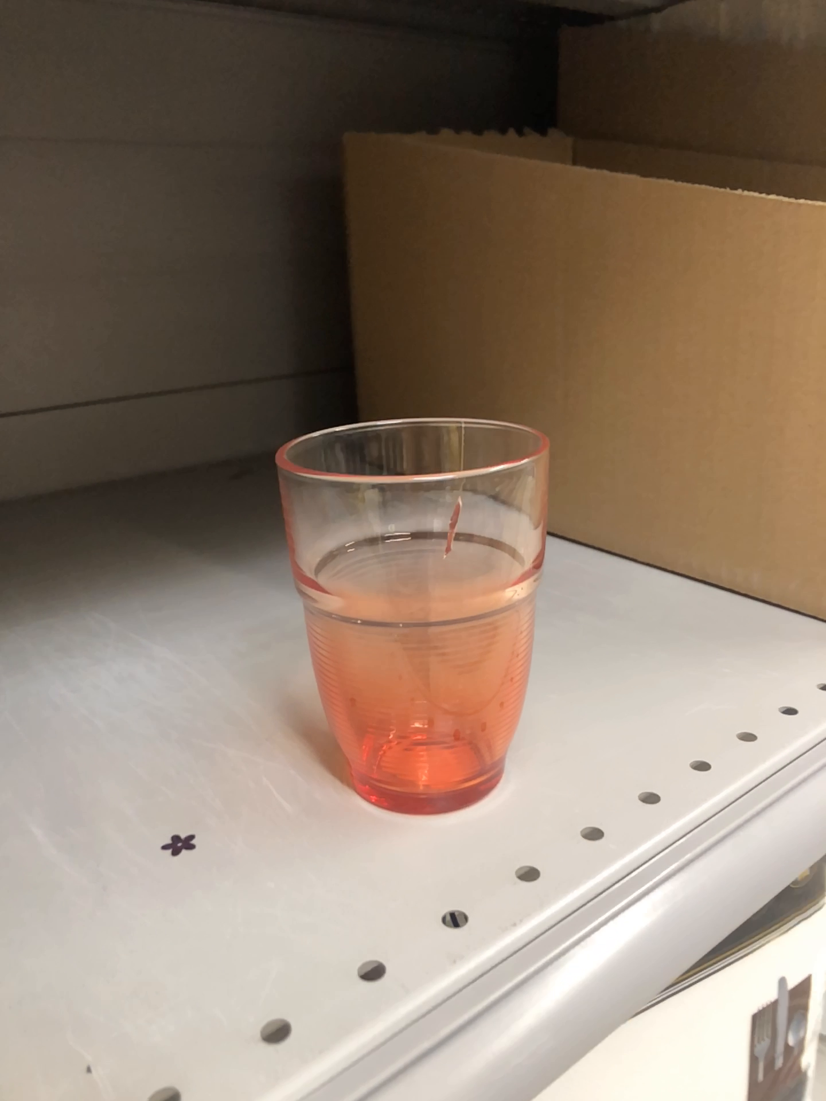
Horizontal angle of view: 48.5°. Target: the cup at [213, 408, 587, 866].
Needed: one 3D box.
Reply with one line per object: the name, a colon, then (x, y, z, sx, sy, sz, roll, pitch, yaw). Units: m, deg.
cup: (0.002, 0.016, 0.266, 0.074, 0.100, 0.080, -2, 17, 1)
